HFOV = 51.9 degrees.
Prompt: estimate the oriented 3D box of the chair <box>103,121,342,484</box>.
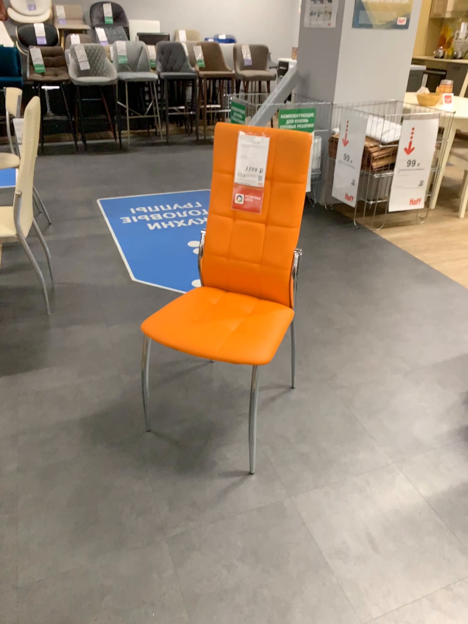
[{"bbox_3d":[-0.014,-0.052,1.639,0.490,1.014,0.543,15,33,23],"label":"chair"}]
